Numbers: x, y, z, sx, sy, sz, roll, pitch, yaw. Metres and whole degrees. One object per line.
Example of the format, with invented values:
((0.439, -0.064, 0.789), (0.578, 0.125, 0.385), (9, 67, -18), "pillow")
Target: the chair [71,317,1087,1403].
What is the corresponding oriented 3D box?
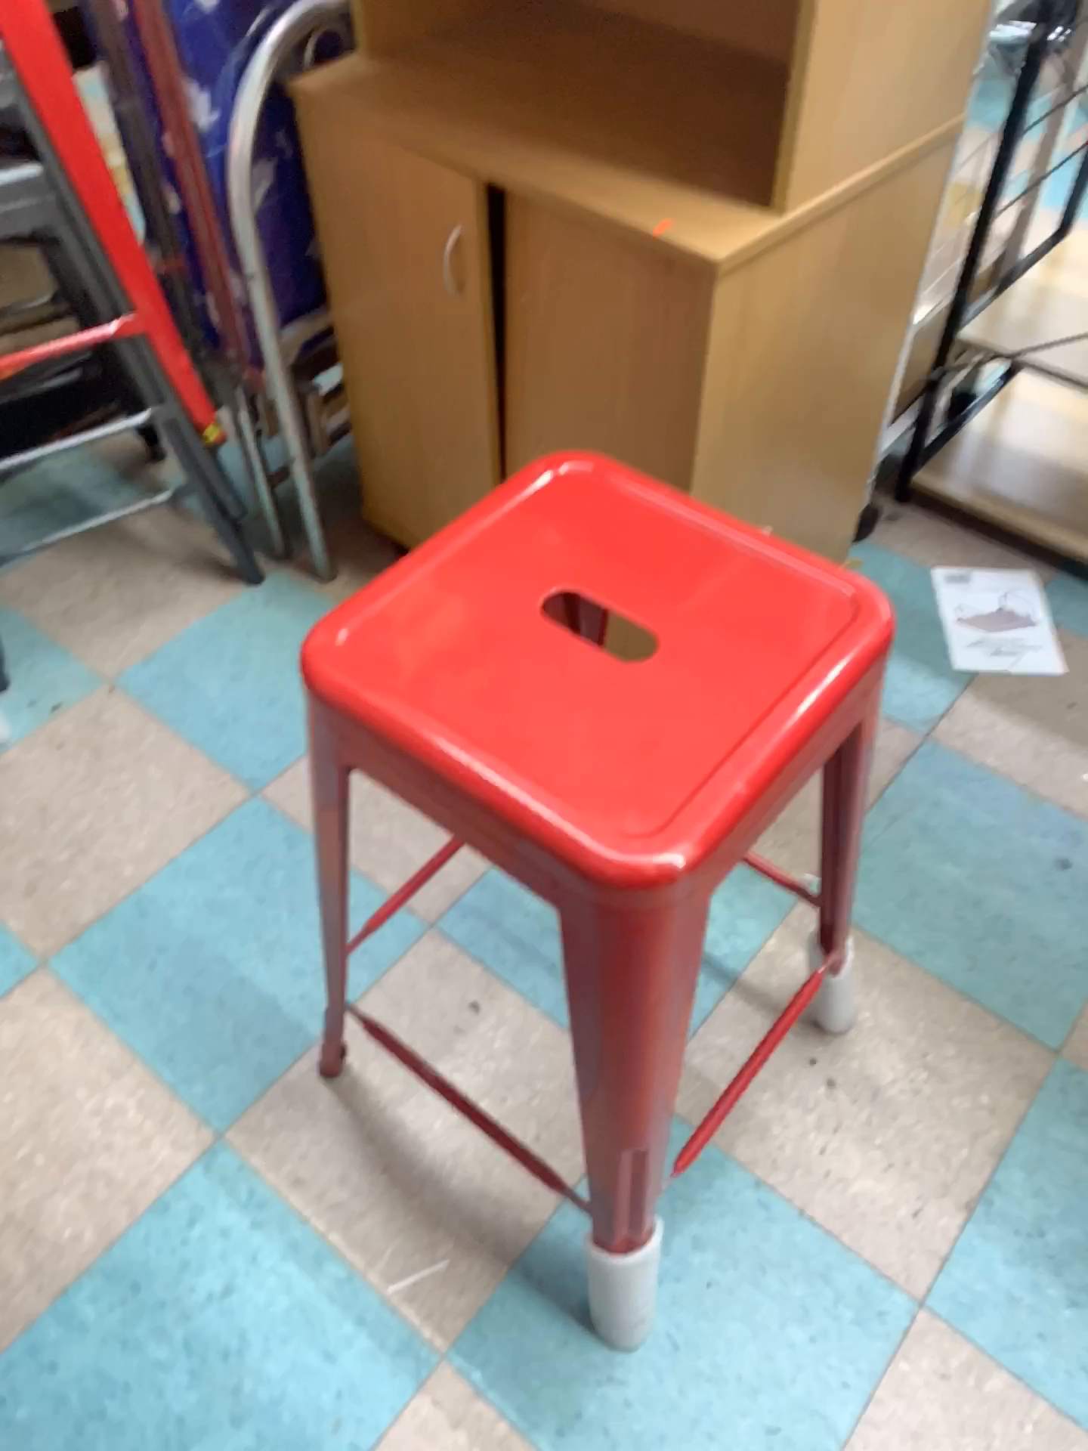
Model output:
((0.046, 0.119, 0.859), (0.435, 0.598, 0.439), (32, 57, 25), "chair")
